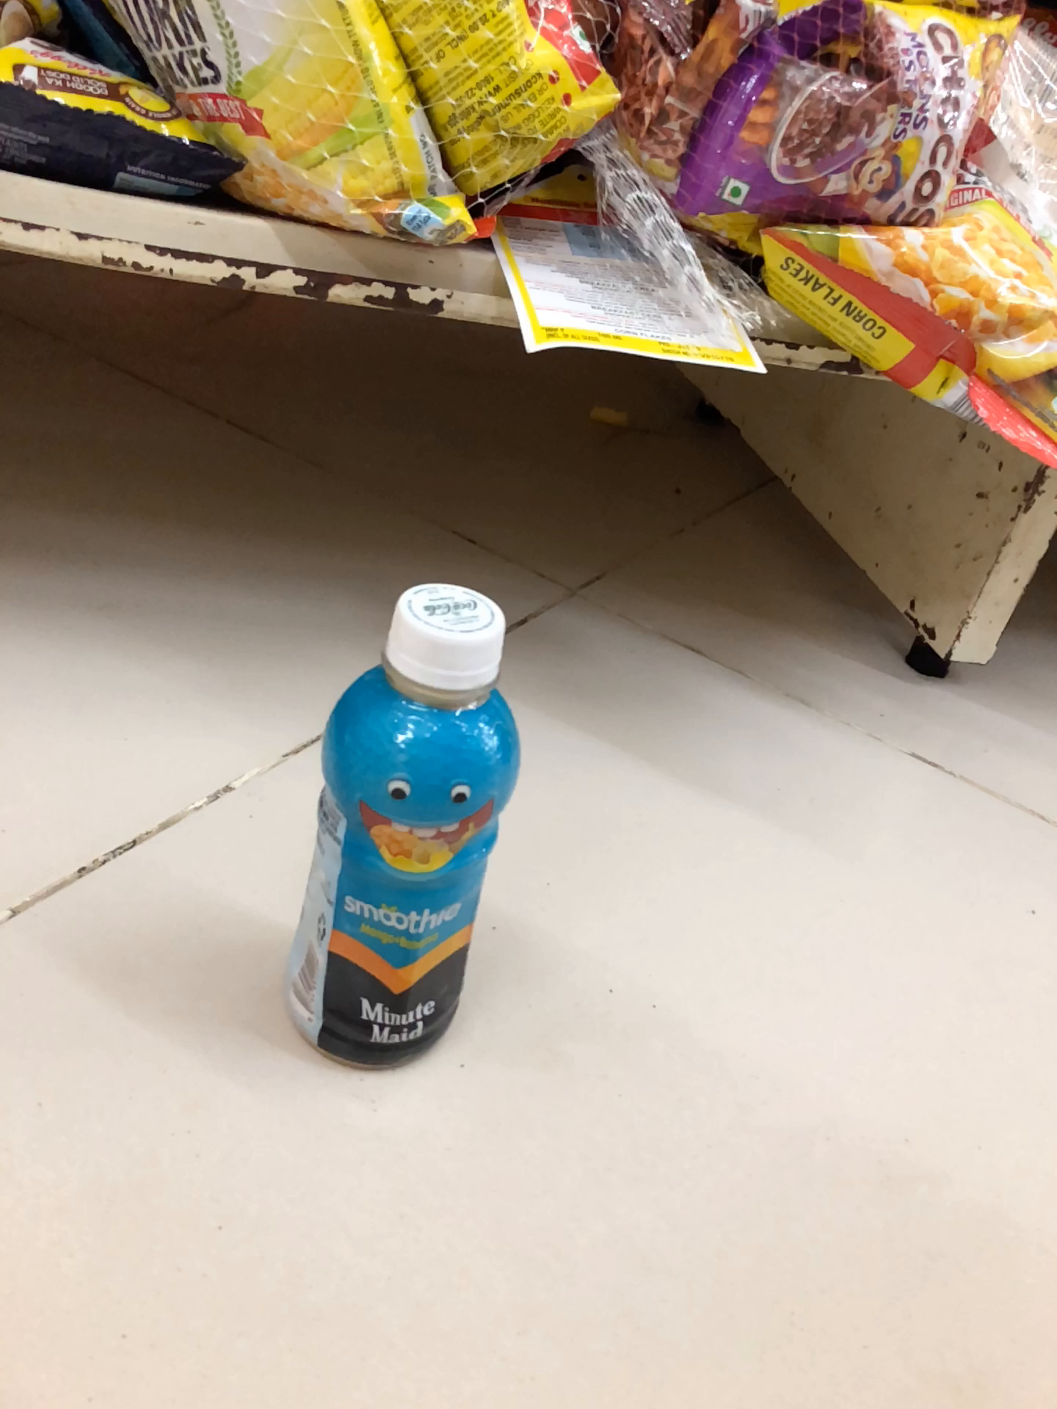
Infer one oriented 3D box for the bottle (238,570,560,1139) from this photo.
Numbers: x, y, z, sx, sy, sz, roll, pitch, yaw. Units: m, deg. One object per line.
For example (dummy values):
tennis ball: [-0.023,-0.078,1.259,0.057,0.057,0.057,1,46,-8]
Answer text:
bottle: [-0.046,0.047,0.345,0.060,0.159,0.060,11,30,-6]
